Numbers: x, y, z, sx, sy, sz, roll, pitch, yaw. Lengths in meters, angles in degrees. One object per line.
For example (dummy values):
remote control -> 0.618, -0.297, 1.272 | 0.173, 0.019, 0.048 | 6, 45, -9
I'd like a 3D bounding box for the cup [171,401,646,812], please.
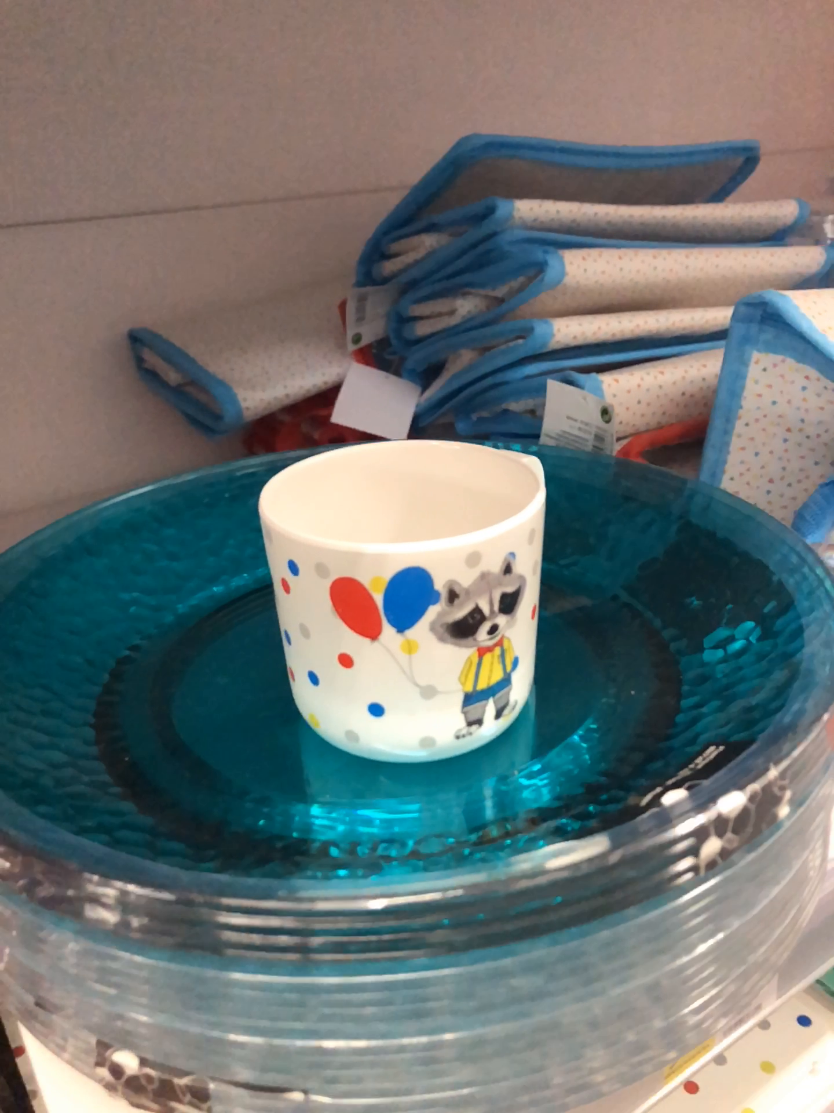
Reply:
cup -> 0.004, 0.003, 0.263 | 0.080, 0.059, 0.110 | 15, 30, 33
